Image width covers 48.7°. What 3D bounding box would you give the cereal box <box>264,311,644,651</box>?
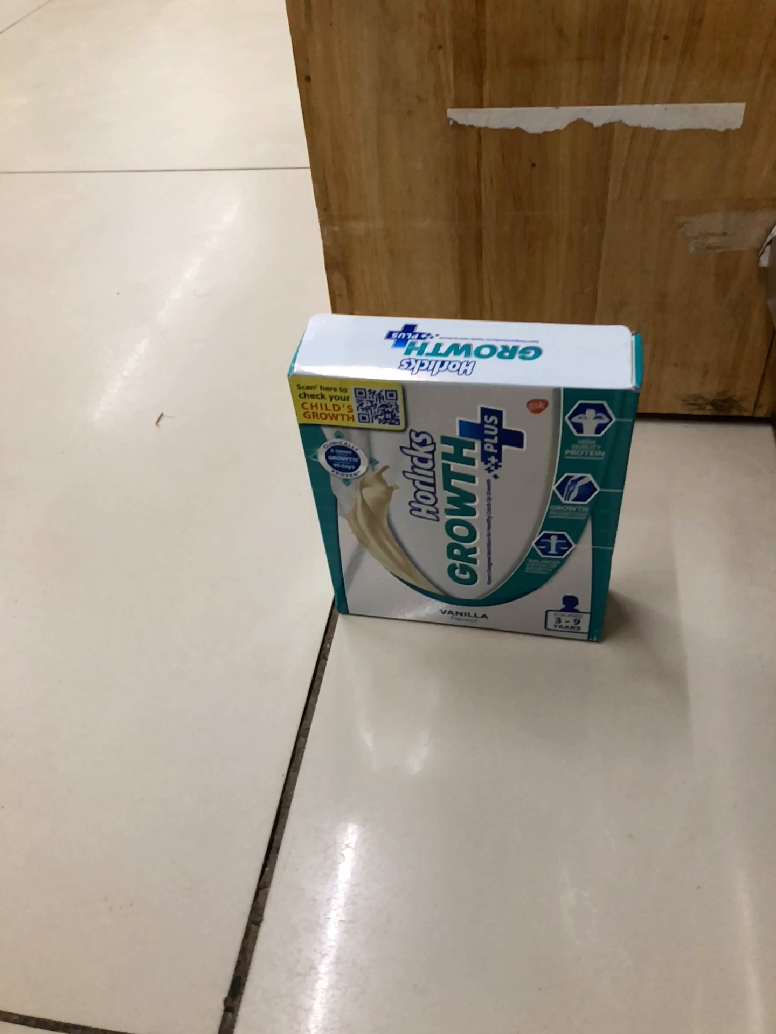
[{"bbox_3d":[0.035,-0.013,0.408,0.150,0.159,0.050,4,45,12],"label":"cereal box"}]
